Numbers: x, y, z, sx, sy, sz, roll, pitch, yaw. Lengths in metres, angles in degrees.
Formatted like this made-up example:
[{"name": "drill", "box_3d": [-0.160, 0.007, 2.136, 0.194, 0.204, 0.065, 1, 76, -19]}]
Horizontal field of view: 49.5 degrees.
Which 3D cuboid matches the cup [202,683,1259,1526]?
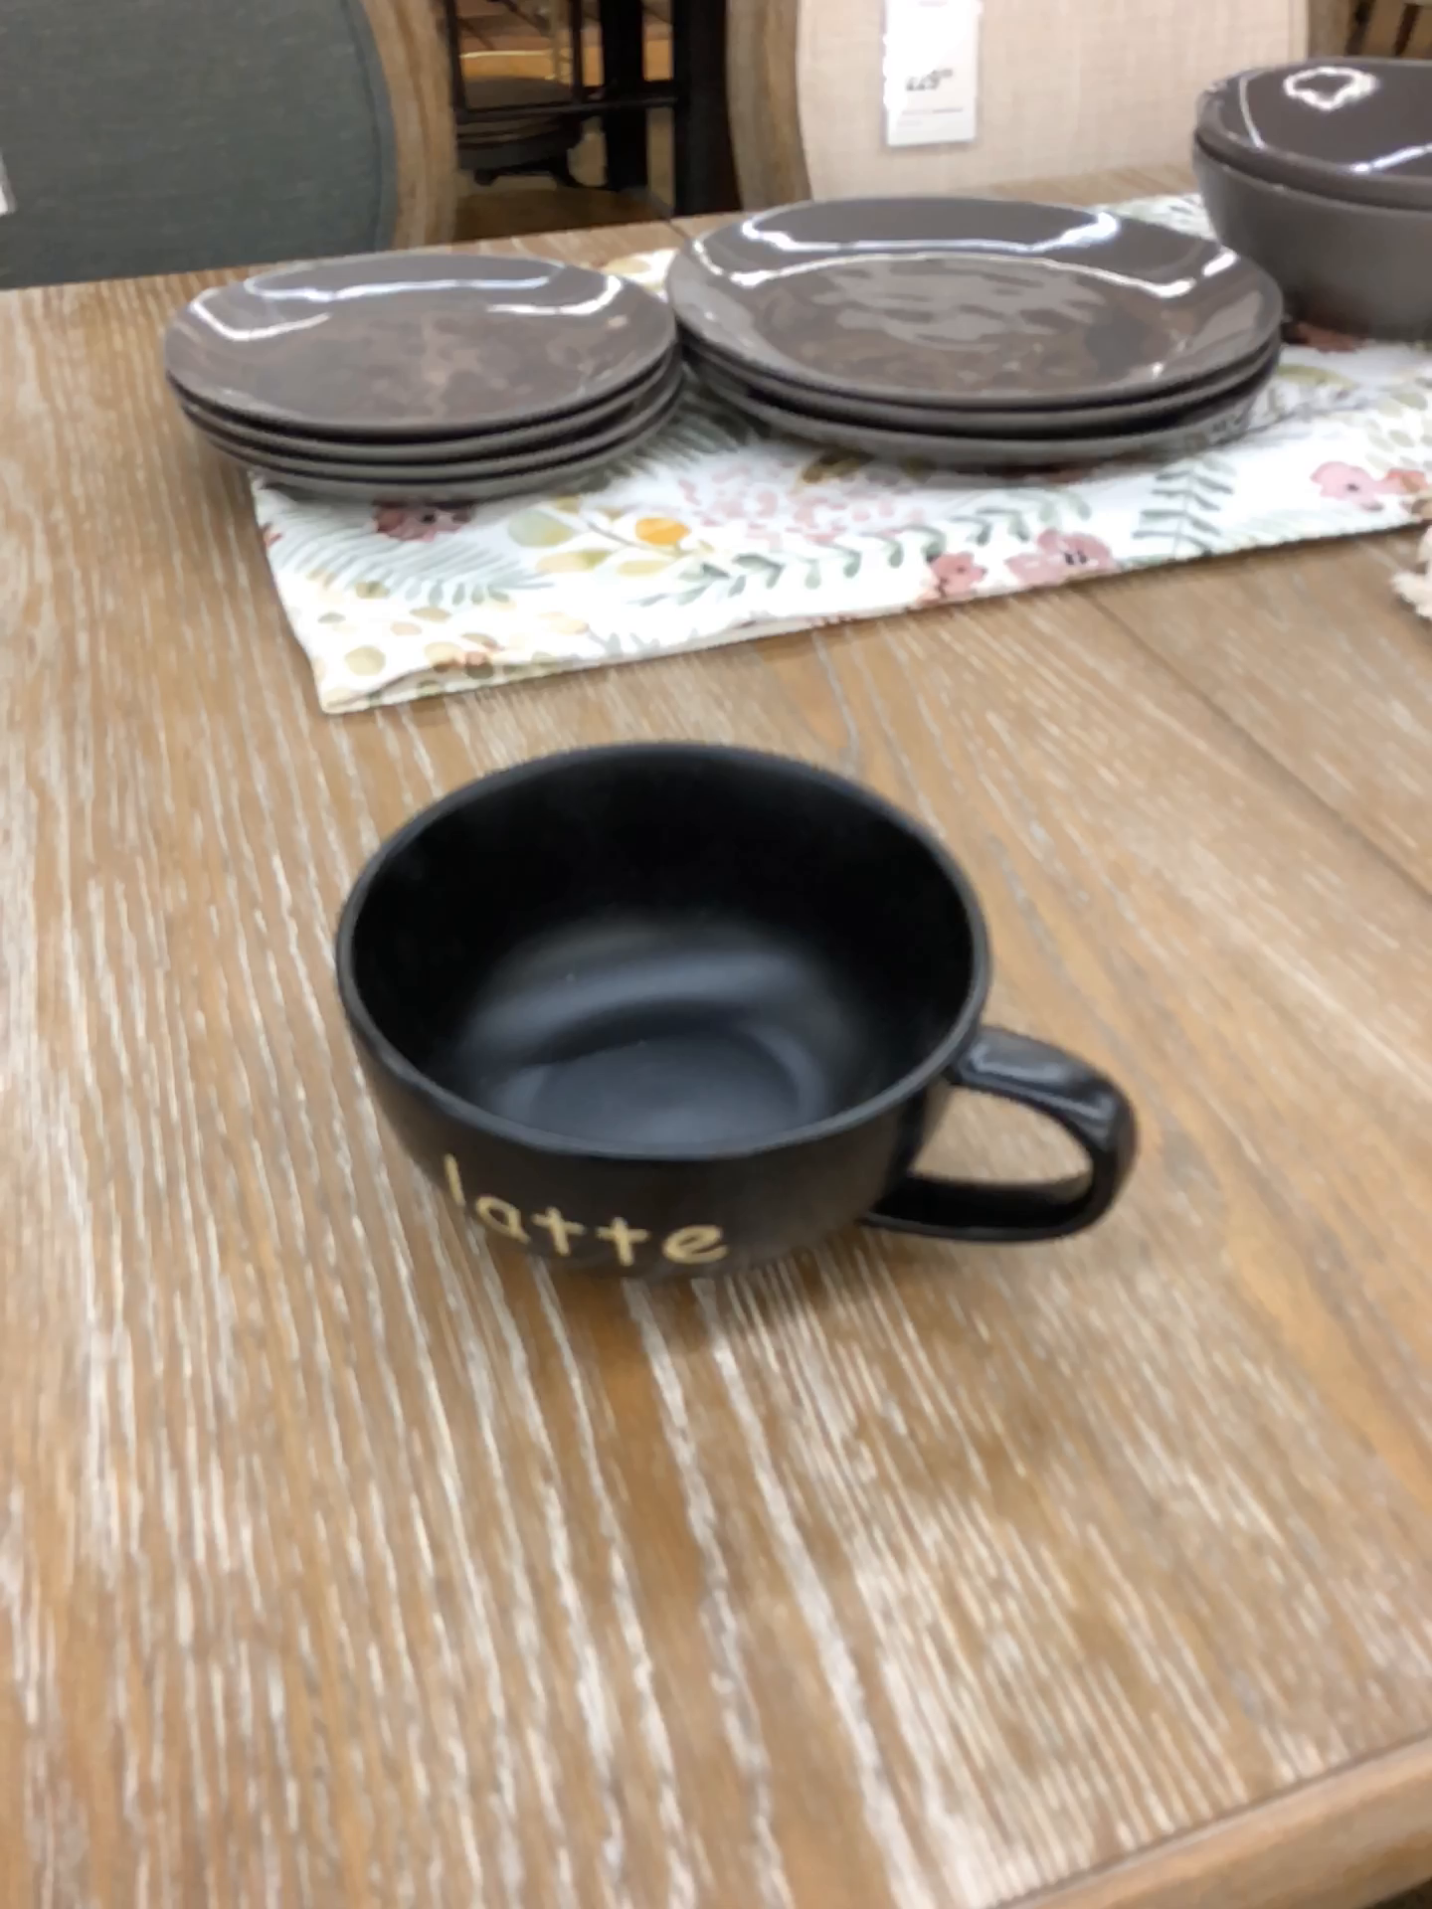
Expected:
[{"name": "cup", "box_3d": [0.009, 0.016, 0.337, 0.175, 0.054, 0.138, 18, 43, 20]}]
